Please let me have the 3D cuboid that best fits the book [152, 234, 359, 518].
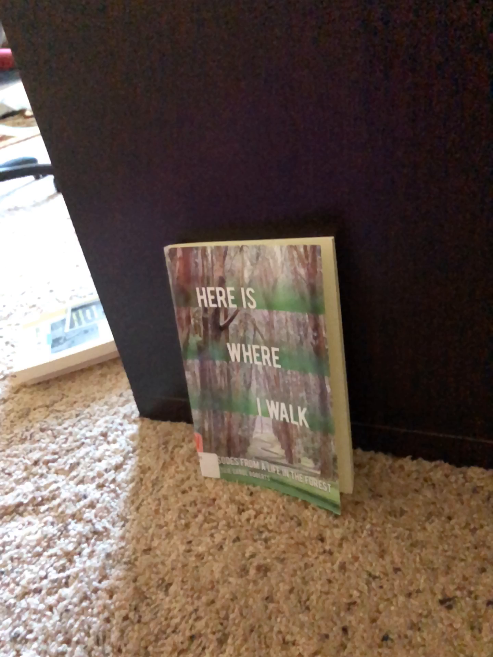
[{"bbox_3d":[0.009,0.036,0.439,0.146,0.212,0.037,2,17,25],"label":"book"}]
